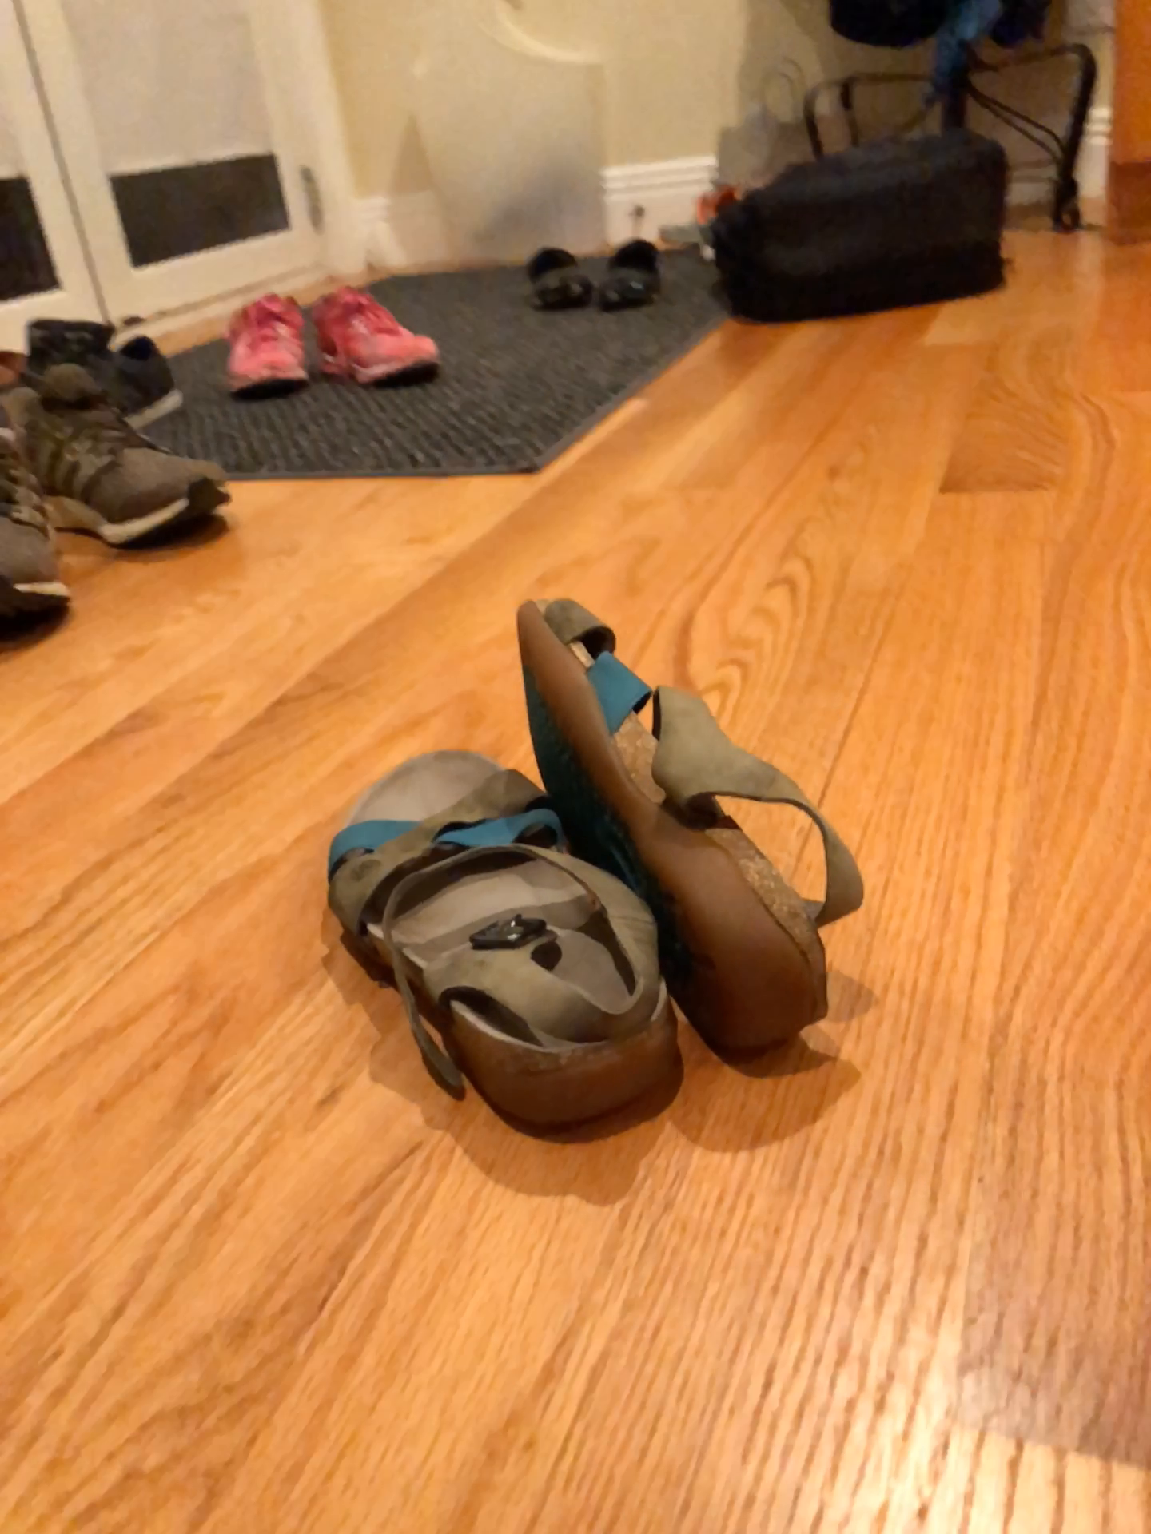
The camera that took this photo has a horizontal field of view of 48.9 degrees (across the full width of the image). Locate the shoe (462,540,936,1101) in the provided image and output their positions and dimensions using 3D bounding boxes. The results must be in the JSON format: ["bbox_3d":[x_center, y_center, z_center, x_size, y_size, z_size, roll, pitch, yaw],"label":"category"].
[{"bbox_3d":[0.033,0.001,0.469,0.065,0.104,0.239,-17,28,-16],"label":"shoe"}]

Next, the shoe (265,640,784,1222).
[{"bbox_3d":[-0.033,0.037,0.462,0.104,0.075,0.241,-17,28,-16],"label":"shoe"}]
